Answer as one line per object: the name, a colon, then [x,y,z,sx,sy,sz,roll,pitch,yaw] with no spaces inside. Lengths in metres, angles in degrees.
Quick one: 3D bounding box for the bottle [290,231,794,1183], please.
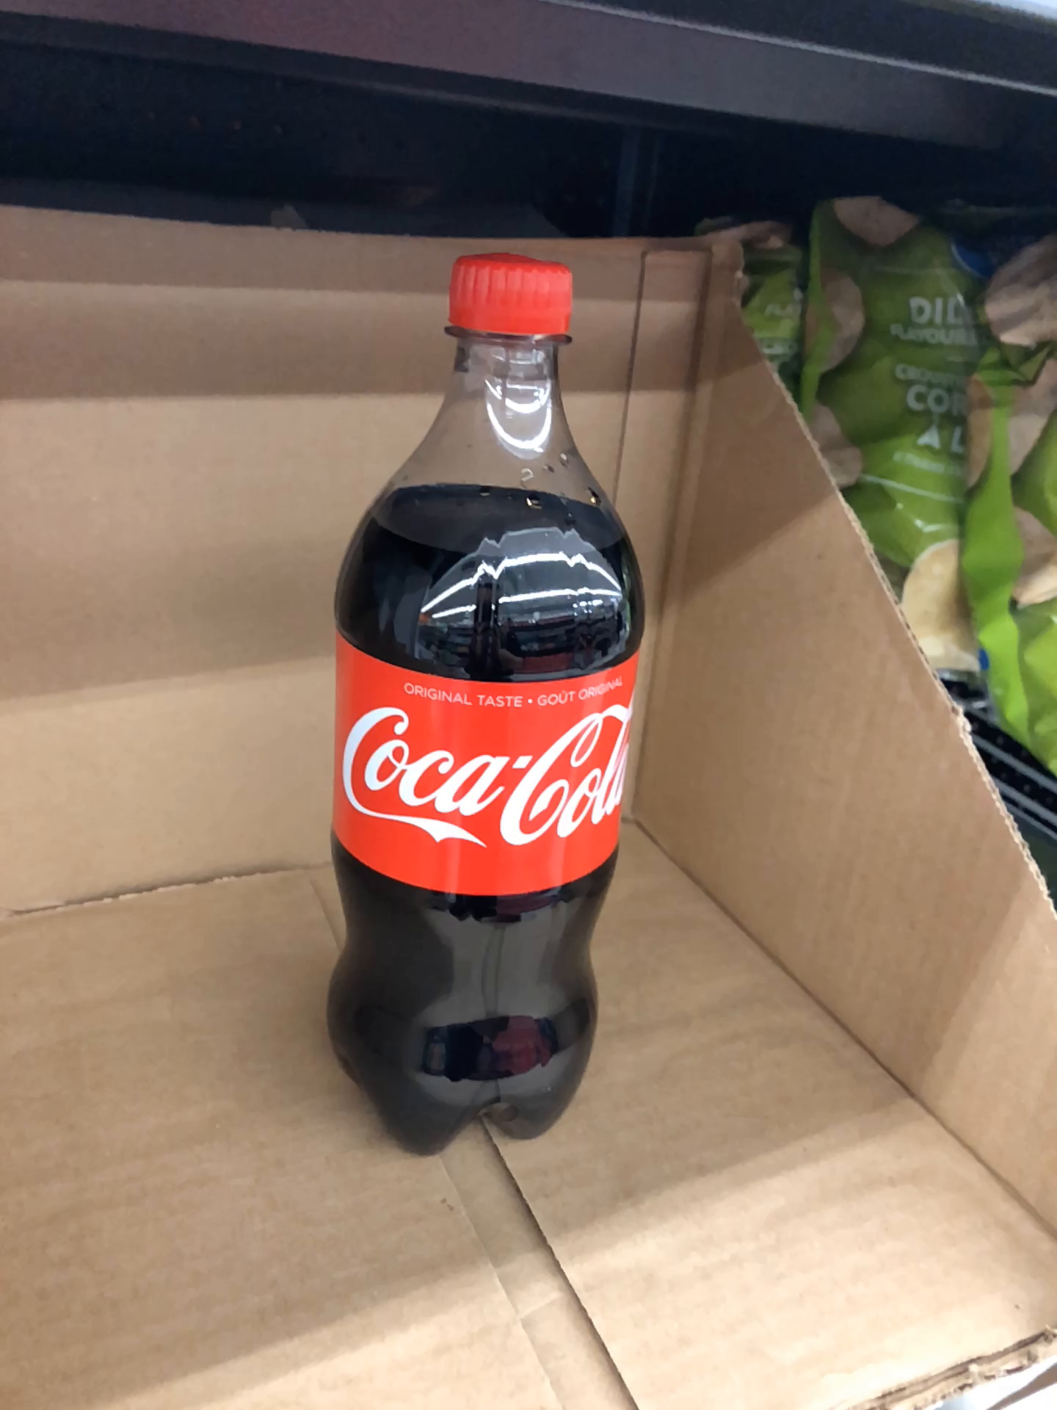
bottle: [-0.012,0.004,0.340,0.100,0.248,0.091,-1,25,-16]
